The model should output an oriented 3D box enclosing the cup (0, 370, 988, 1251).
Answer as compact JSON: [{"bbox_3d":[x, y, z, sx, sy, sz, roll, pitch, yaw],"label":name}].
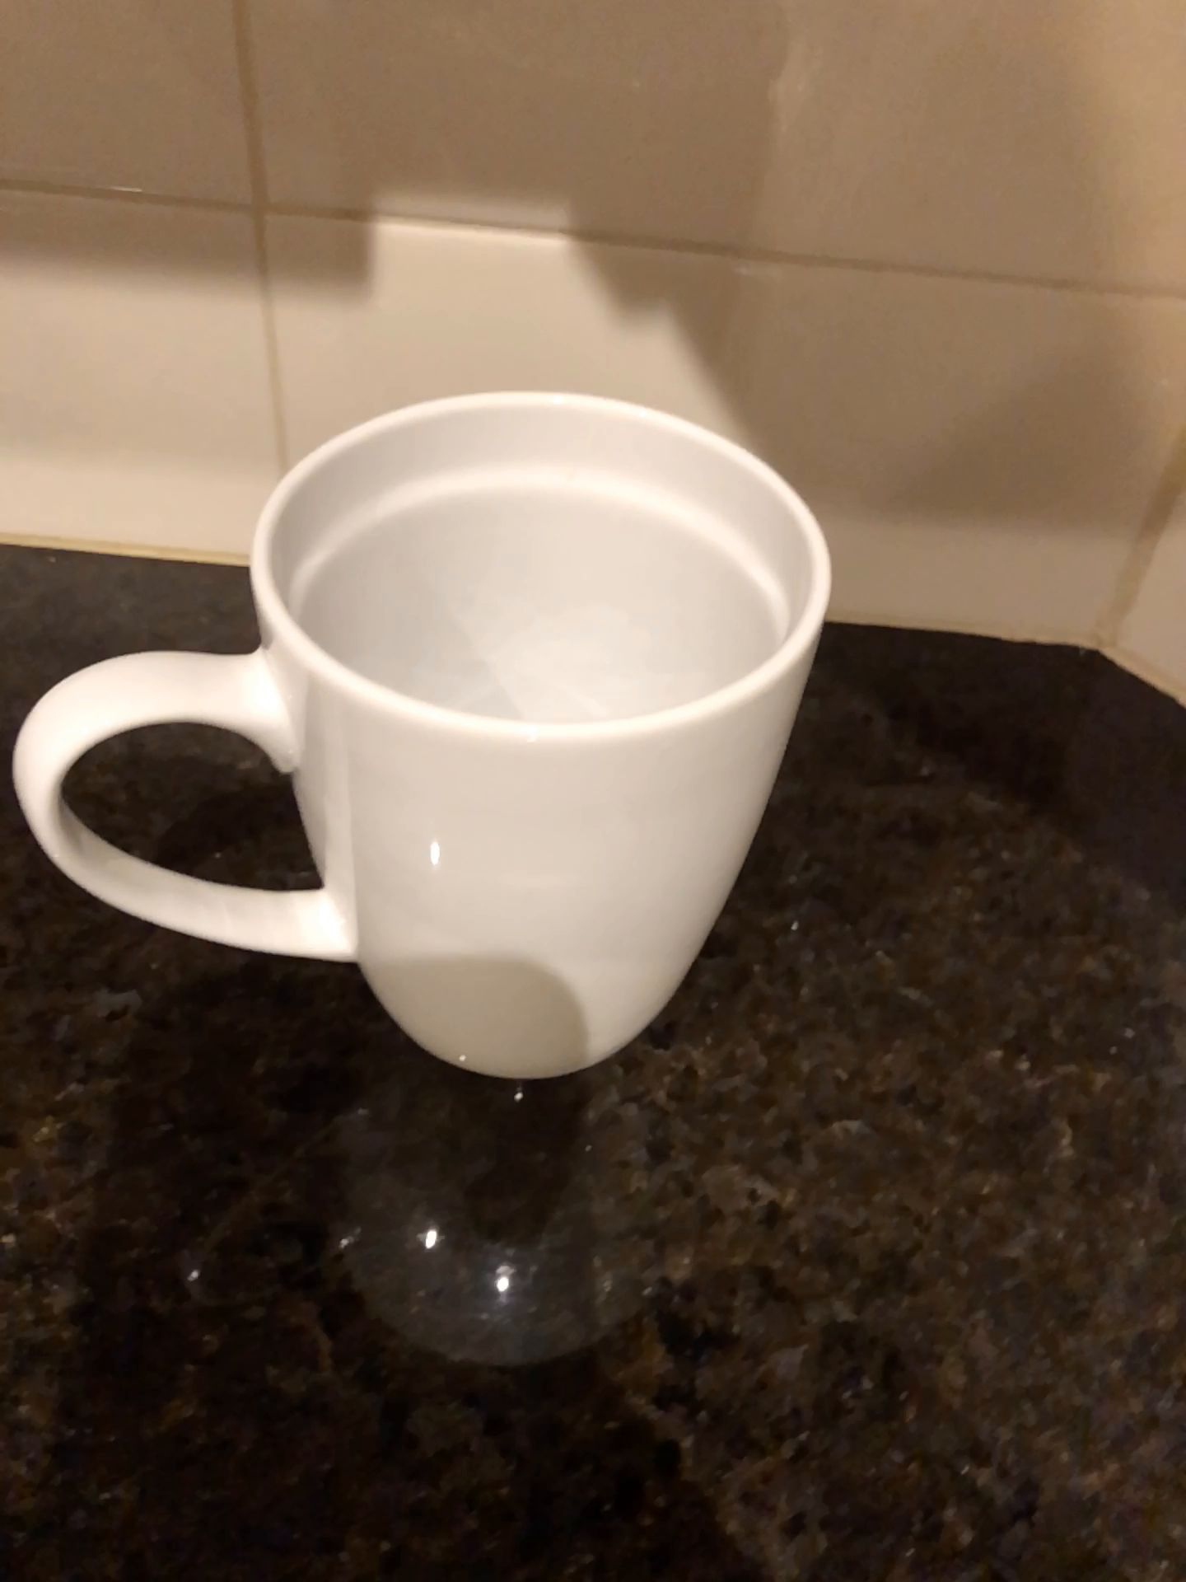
[{"bbox_3d":[-0.026,-0.002,0.224,0.130,0.090,0.090,-10,47,-16],"label":"cup"}]
